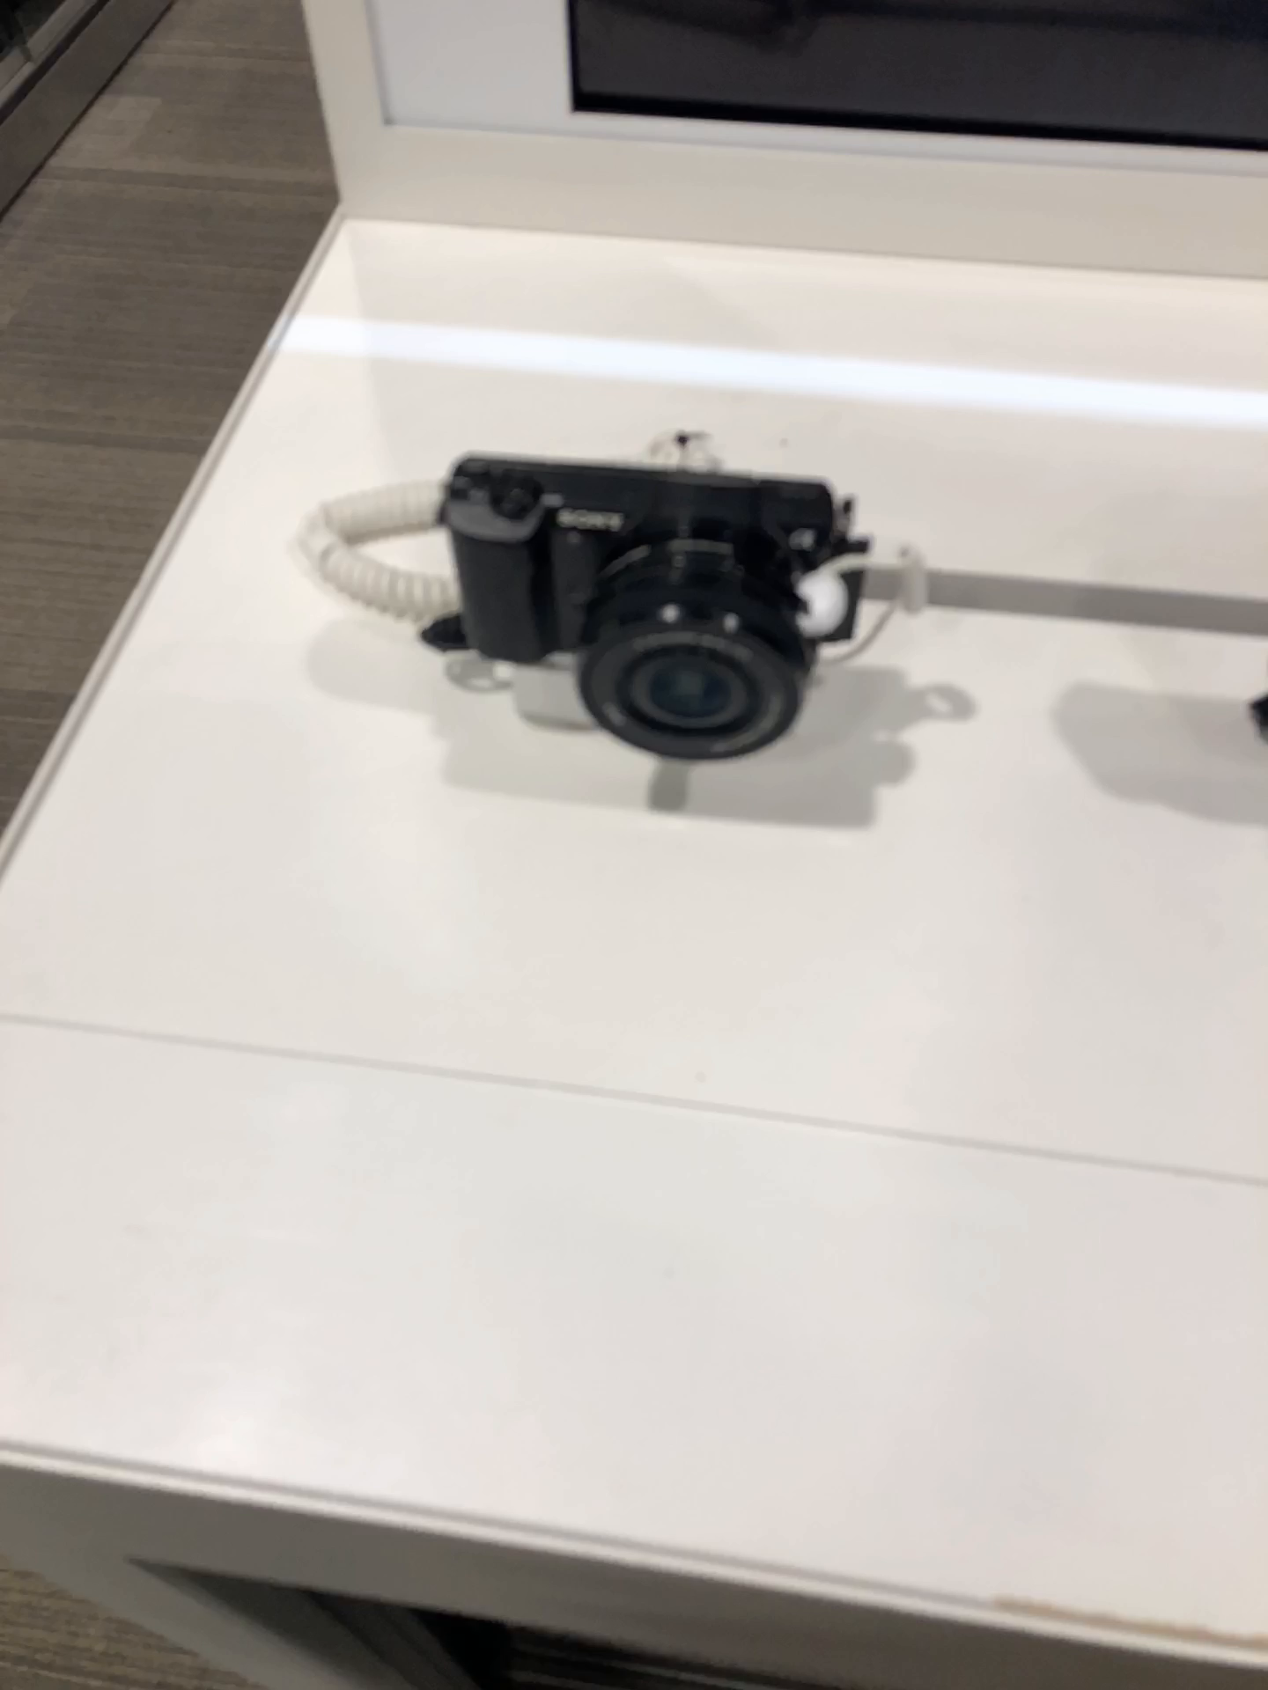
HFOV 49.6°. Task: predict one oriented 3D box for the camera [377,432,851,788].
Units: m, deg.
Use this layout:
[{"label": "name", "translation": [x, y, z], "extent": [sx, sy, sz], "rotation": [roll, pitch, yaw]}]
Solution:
[{"label": "camera", "translation": [-0.002, -0.065, 0.376], "extent": [0.113, 0.060, 0.062], "rotation": [6, 54, 7]}]
